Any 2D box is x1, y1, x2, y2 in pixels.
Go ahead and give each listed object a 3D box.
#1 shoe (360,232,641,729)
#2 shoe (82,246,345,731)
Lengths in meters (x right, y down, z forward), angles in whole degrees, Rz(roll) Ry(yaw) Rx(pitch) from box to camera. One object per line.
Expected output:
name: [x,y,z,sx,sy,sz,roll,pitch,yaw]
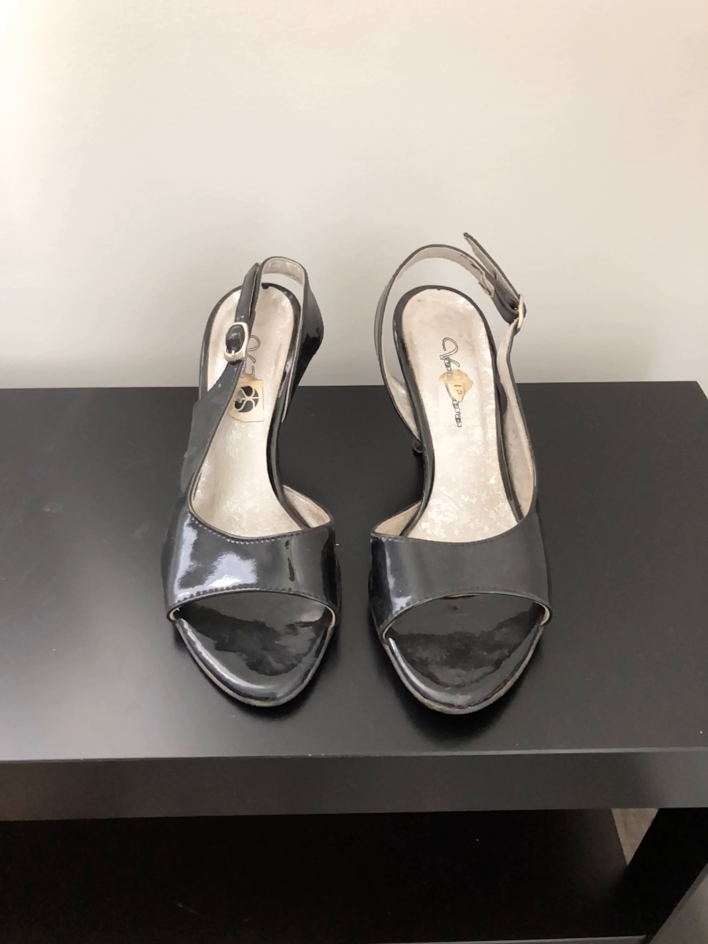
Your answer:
shoe: [0.047,-0.010,0.352,0.083,0.110,0.211,1,41,1]
shoe: [-0.054,-0.007,0.366,0.083,0.110,0.211,-3,41,-4]
